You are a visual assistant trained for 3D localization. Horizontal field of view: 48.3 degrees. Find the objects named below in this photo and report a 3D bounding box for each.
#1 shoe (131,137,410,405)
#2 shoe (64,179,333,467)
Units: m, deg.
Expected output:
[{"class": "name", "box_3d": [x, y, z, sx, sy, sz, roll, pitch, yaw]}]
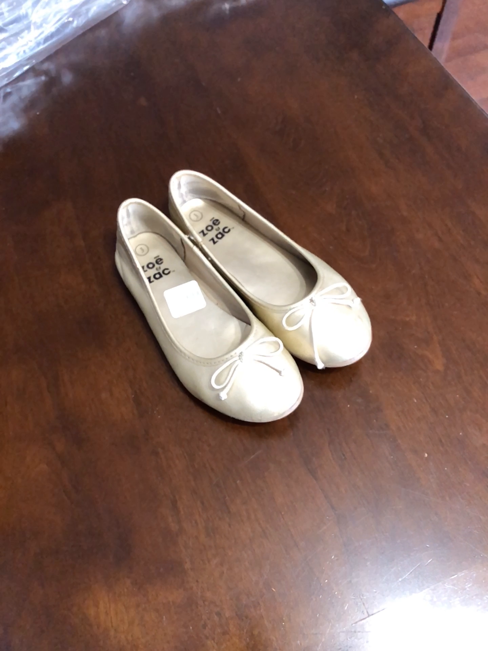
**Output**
[{"class": "shoe", "box_3d": [0.015, -0.053, 0.466, 0.090, 0.070, 0.230, -39, 66, -17]}, {"class": "shoe", "box_3d": [-0.041, -0.009, 0.439, 0.080, 0.070, 0.230, -37, 66, -16]}]
